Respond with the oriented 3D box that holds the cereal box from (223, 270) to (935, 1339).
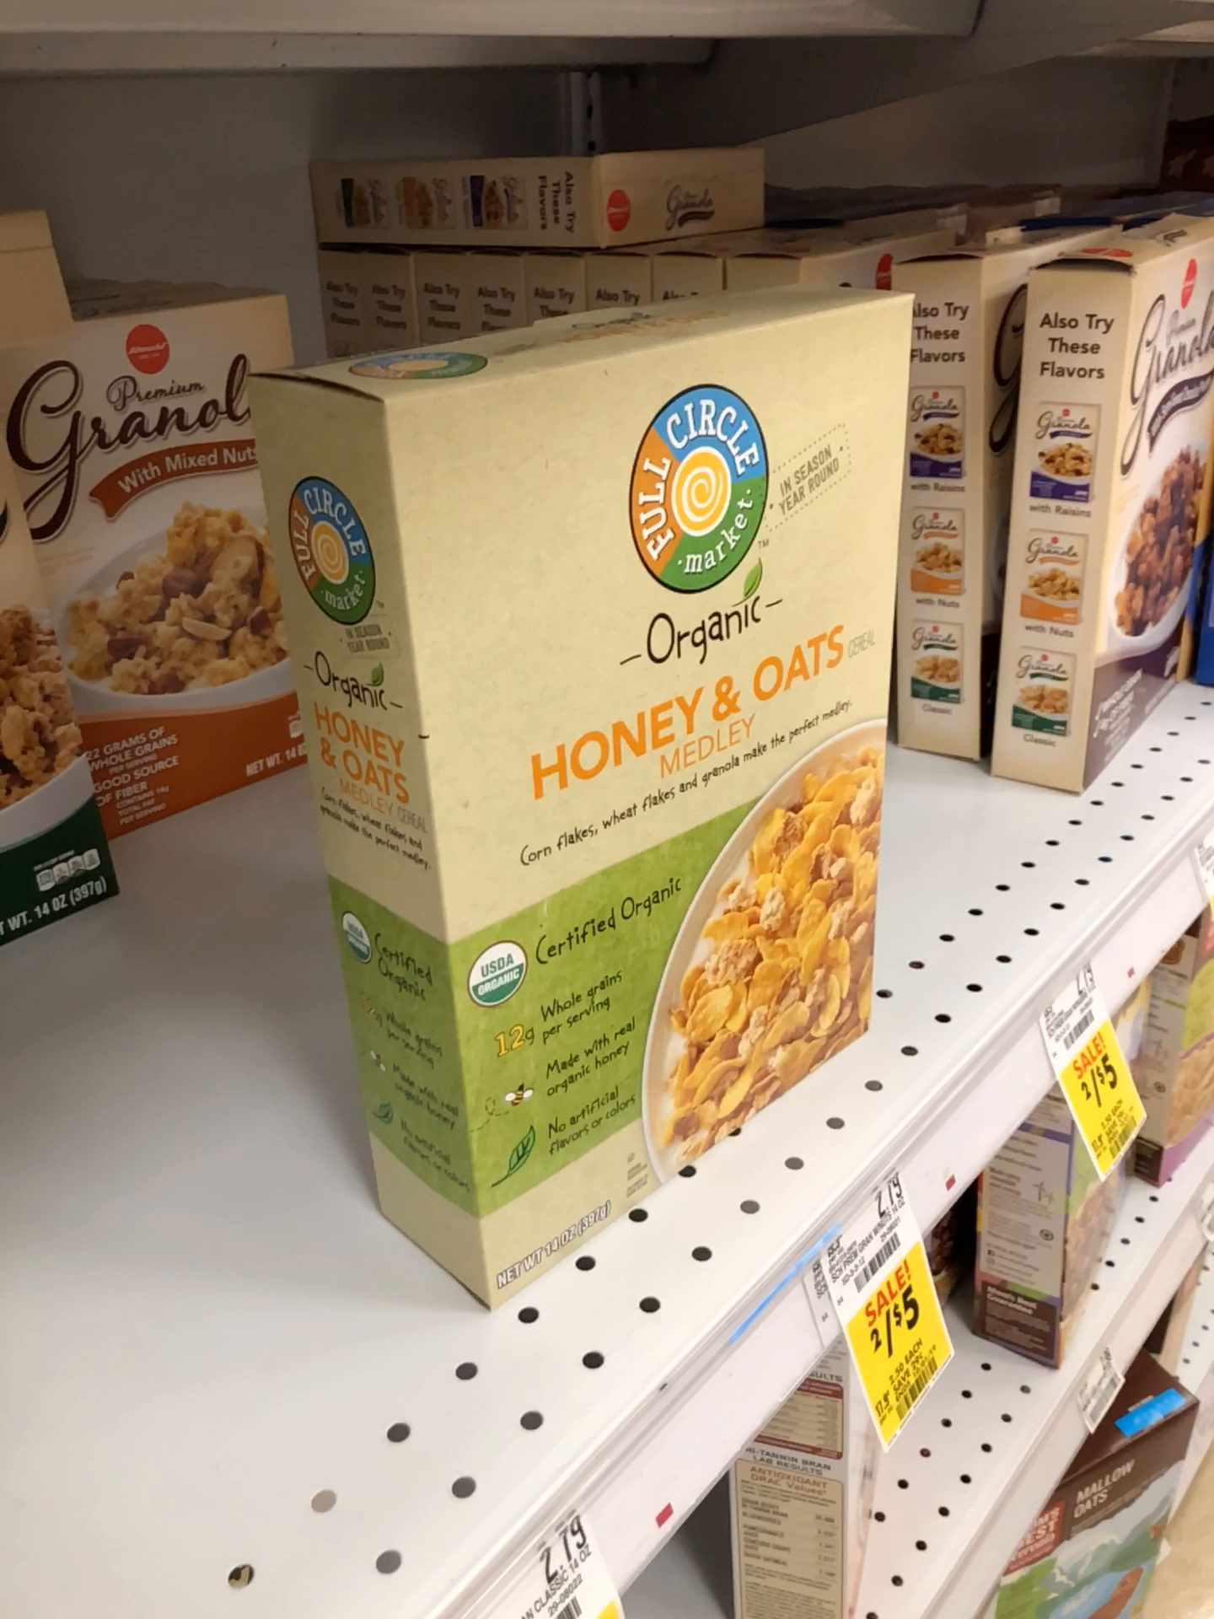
[{"bbox_3d":[0.009,-0.010,0.395,0.190,0.259,0.060,-25,34,-38],"label":"cereal box"}]
